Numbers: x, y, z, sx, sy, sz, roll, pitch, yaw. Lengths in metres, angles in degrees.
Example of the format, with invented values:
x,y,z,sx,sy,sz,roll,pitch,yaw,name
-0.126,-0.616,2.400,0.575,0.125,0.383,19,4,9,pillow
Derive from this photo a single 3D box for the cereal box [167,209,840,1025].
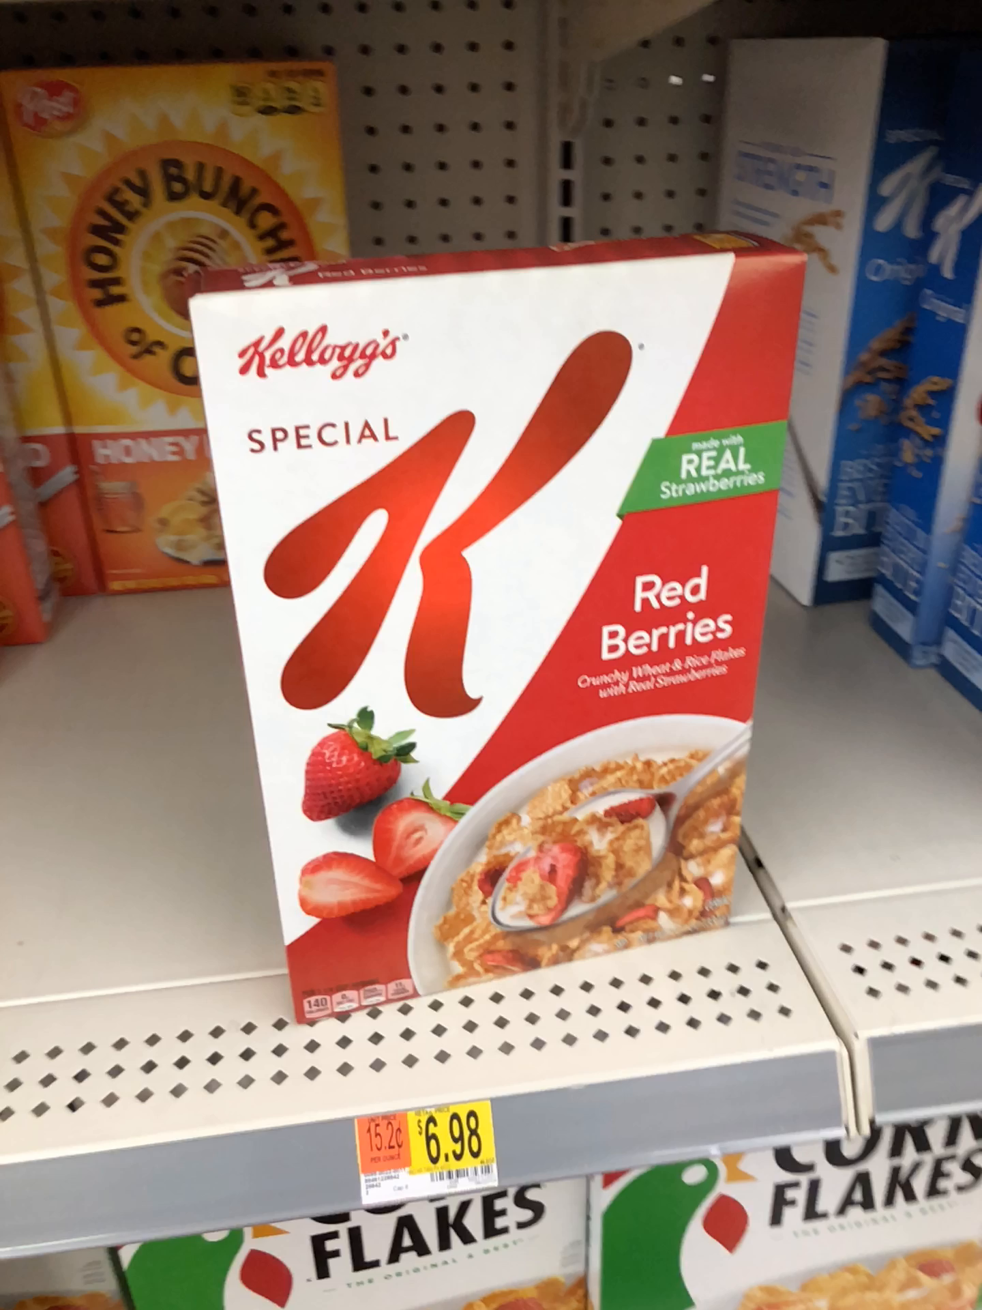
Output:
x,y,z,sx,sy,sz,roll,pitch,yaw,name
0.008,-0.002,0.407,0.200,0.289,0.050,-9,32,-12,cereal box
